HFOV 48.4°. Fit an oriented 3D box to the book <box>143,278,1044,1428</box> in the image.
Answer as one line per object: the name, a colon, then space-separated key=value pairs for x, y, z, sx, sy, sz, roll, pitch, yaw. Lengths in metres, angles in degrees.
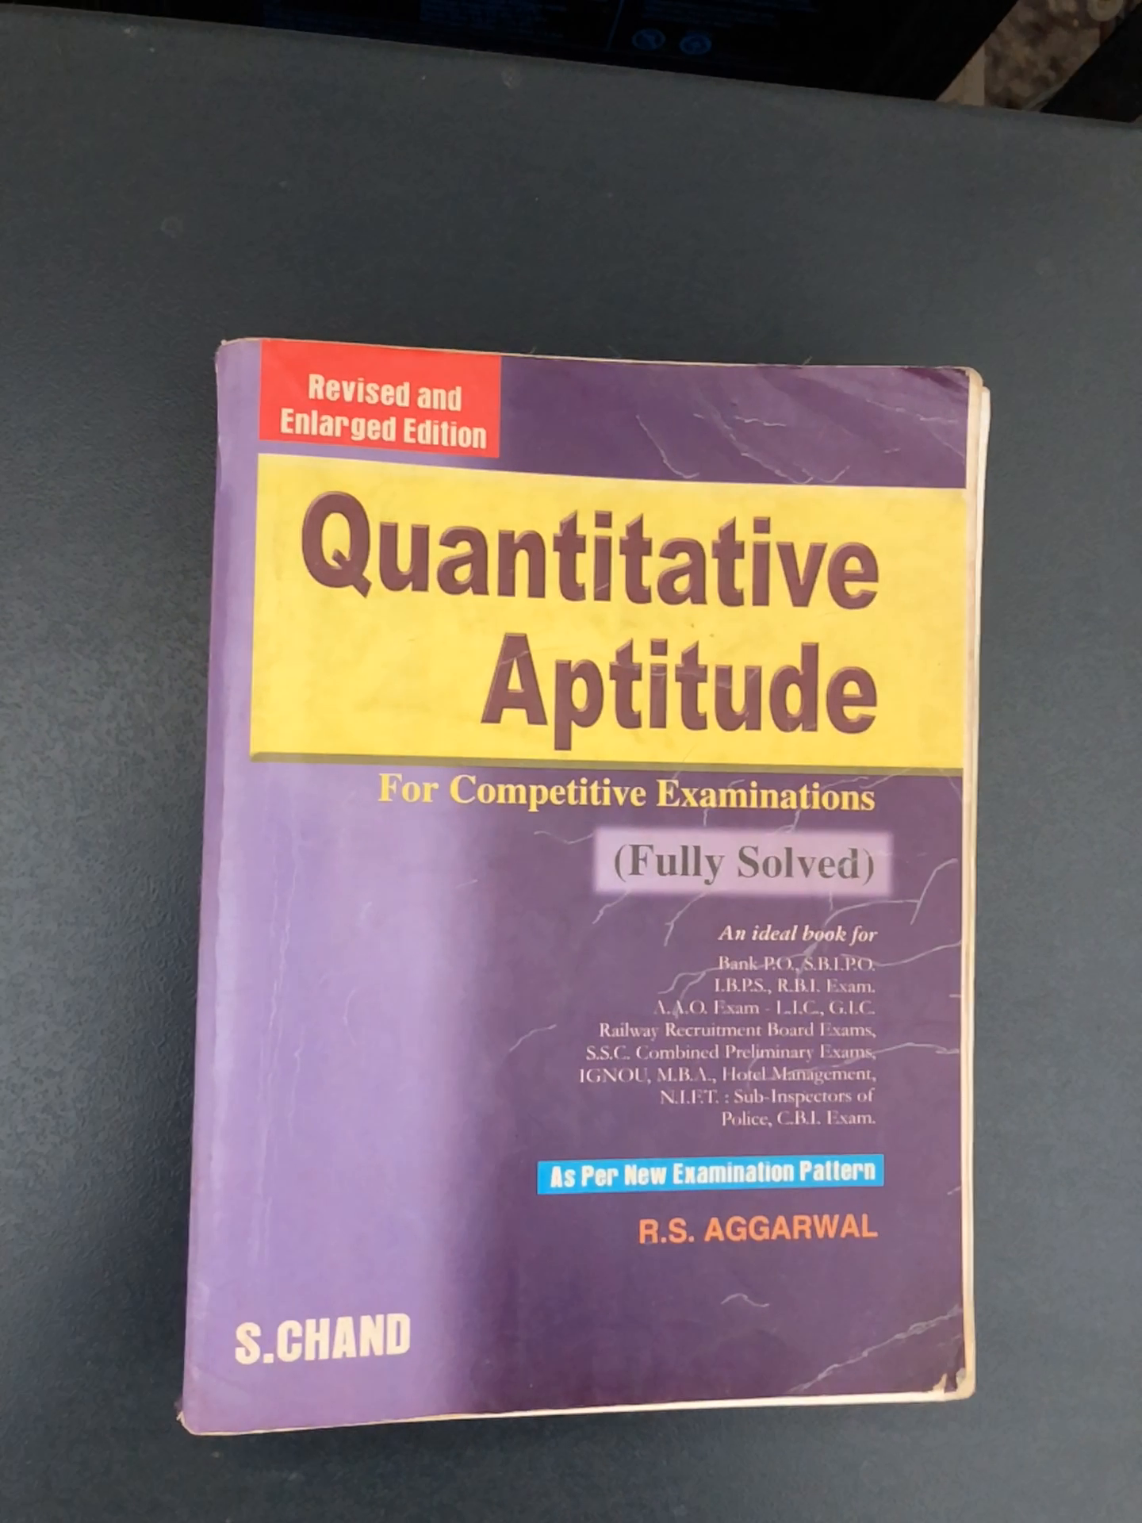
book: x=0.008 y=0.018 z=0.282 sx=0.180 sy=0.050 sz=0.220 roll=2 pitch=86 yaw=-9
